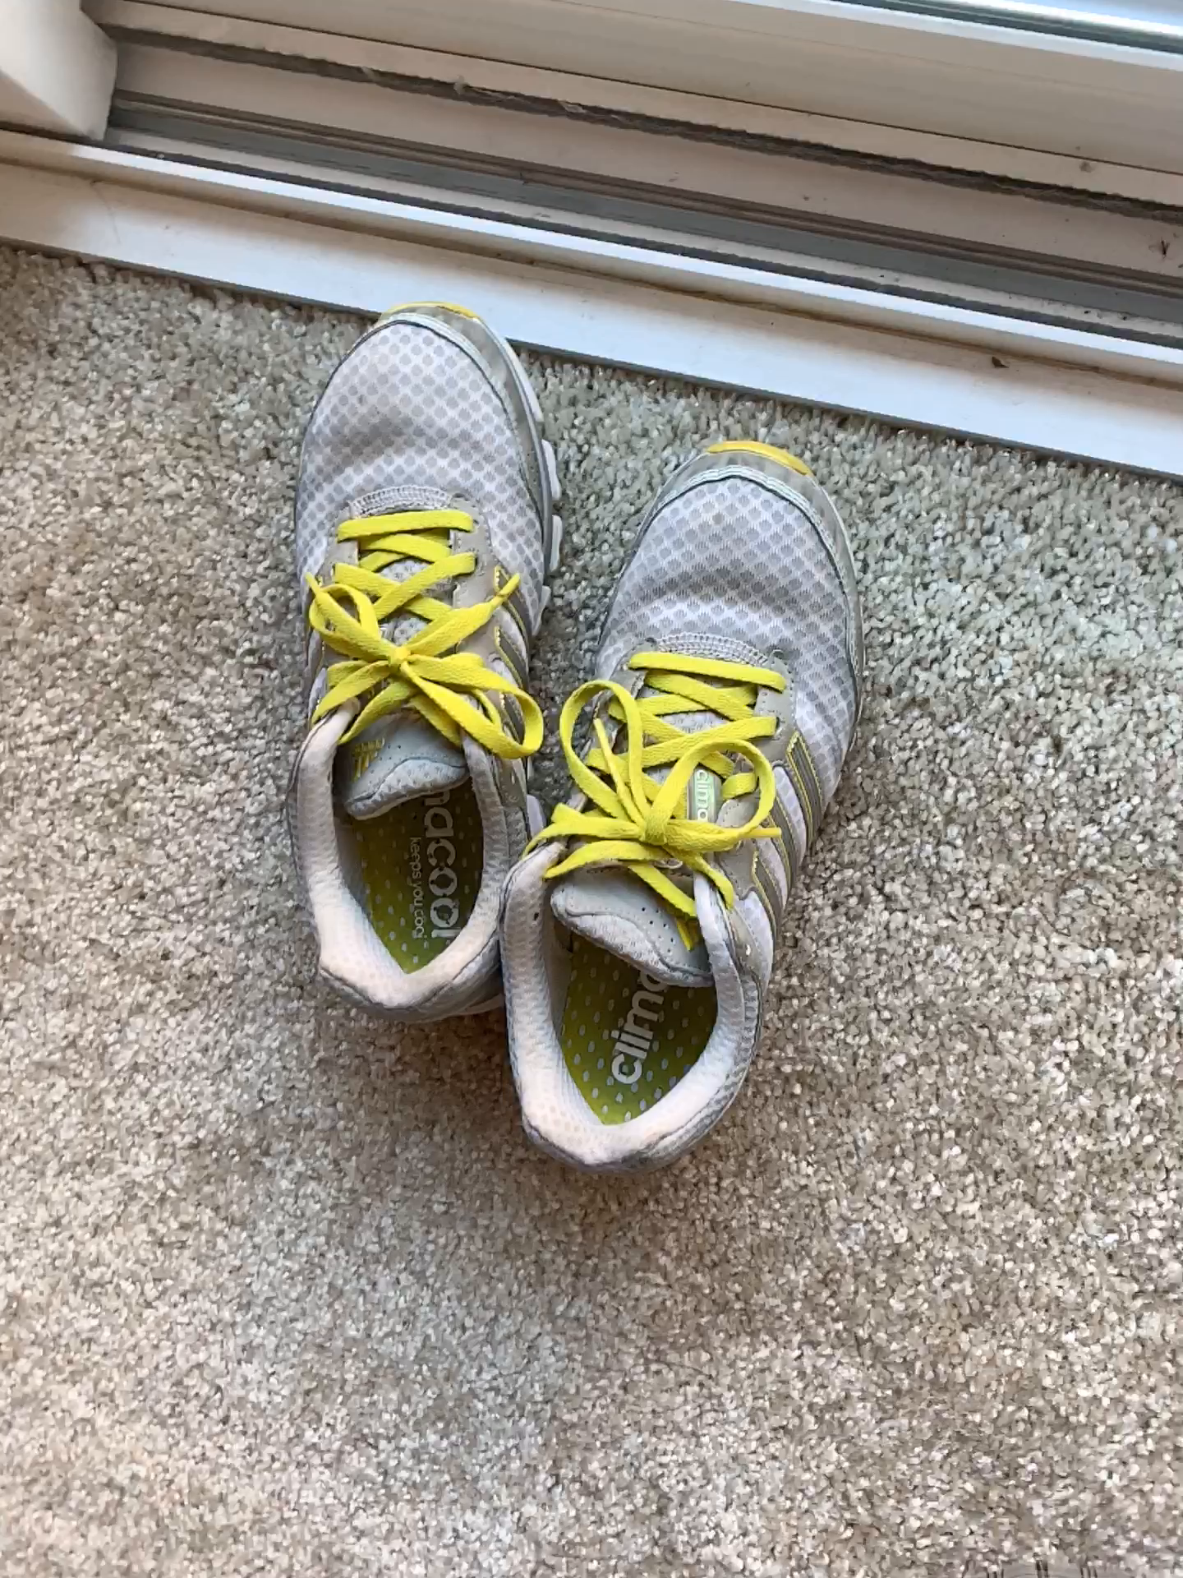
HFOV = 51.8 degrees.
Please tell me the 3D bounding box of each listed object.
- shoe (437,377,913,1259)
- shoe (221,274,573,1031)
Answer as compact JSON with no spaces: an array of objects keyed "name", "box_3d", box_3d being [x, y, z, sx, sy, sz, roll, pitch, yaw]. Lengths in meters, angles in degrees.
[{"name":"shoe","box_3d":[0.027,0.008,0.399,0.090,0.100,0.240,12,86,3]},{"name":"shoe","box_3d":[-0.059,-0.040,0.418,0.090,0.100,0.230,1,85,4]}]
